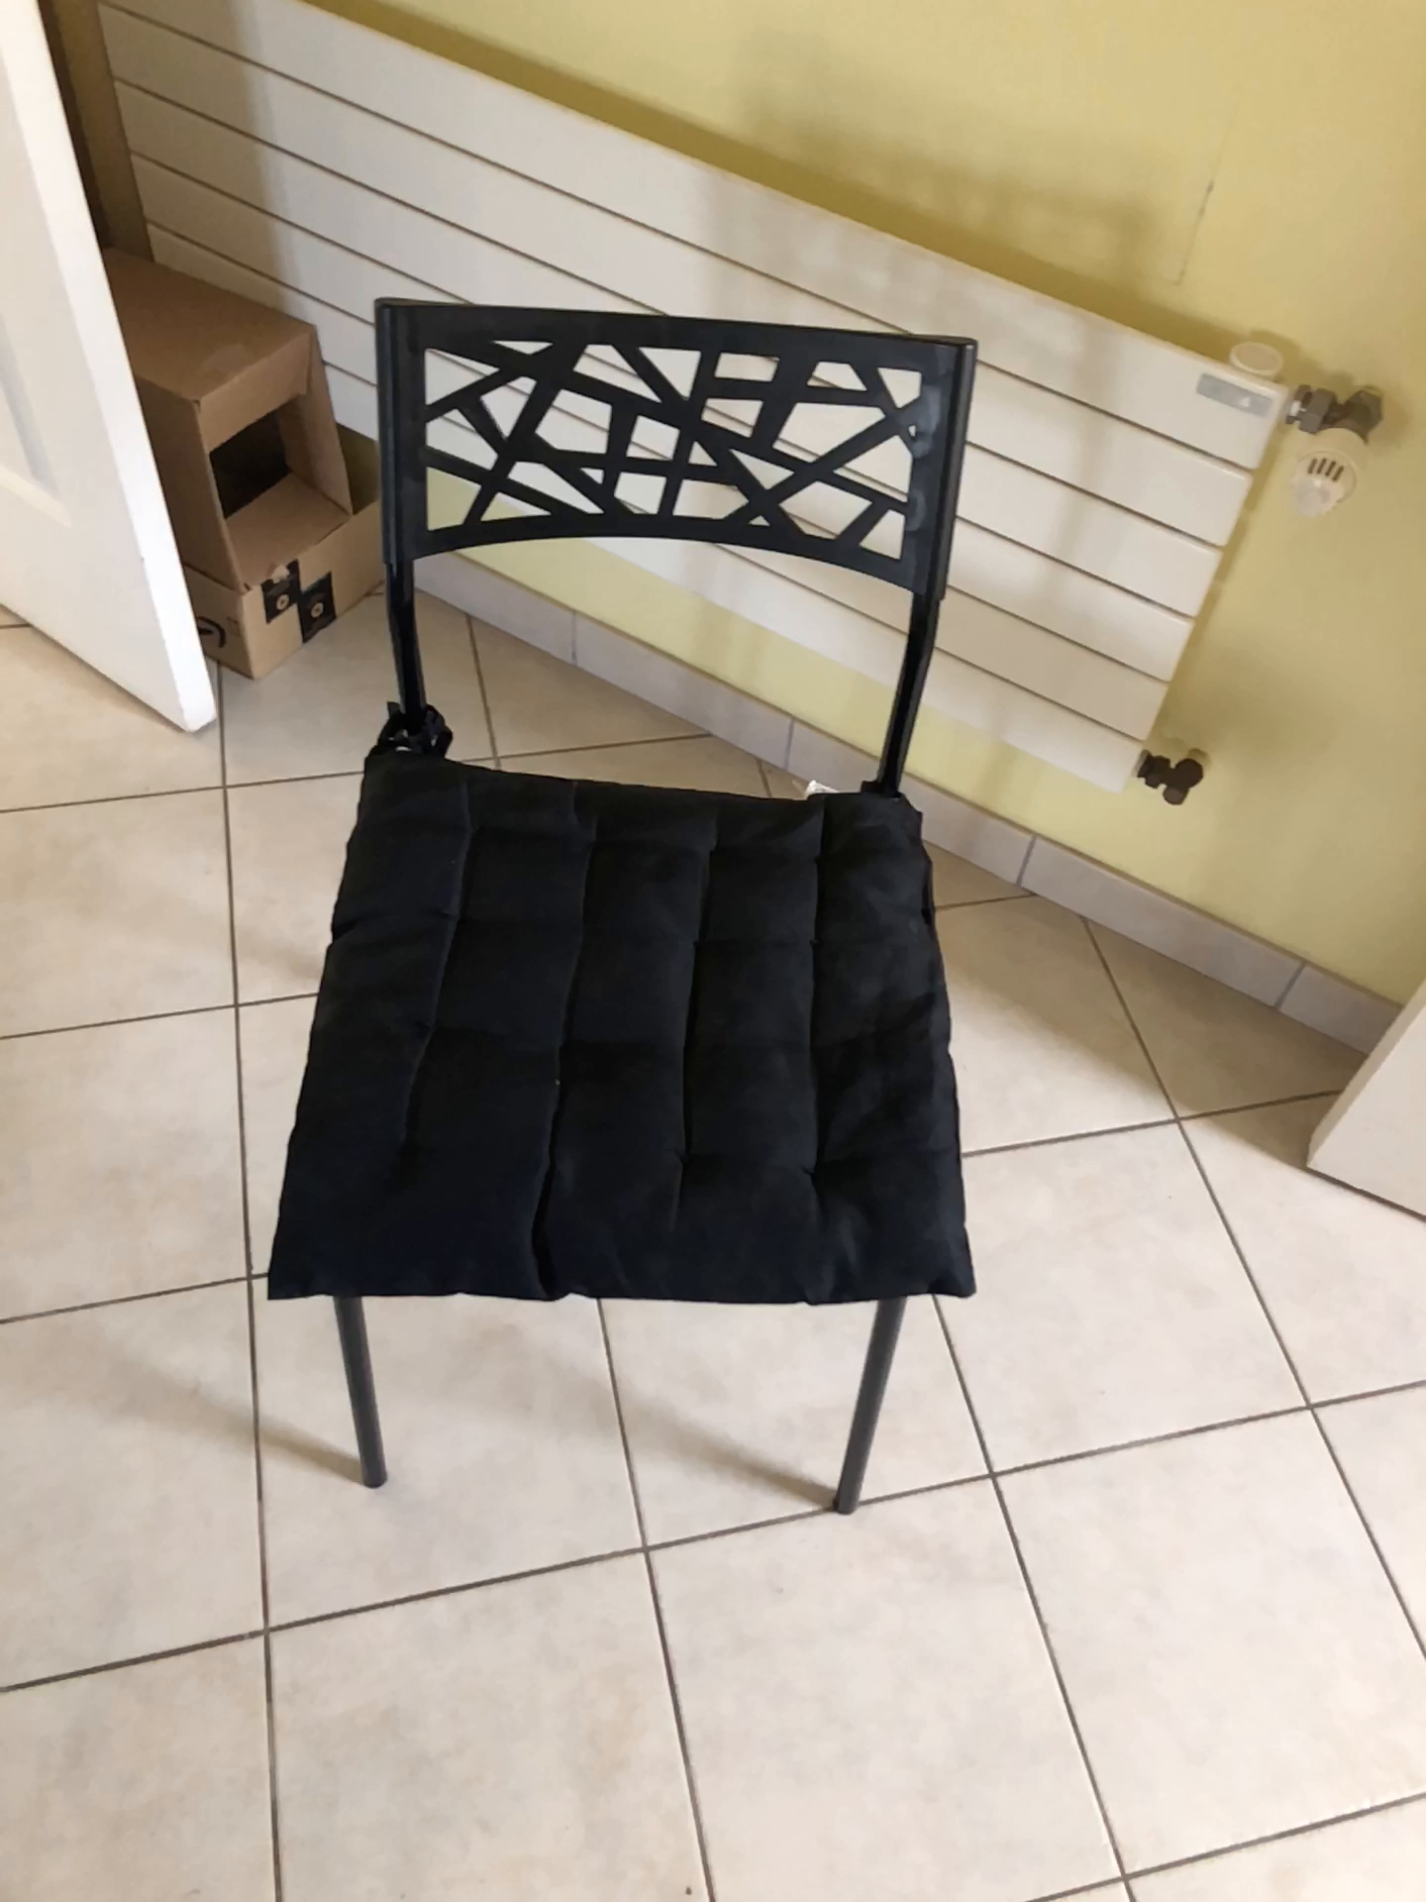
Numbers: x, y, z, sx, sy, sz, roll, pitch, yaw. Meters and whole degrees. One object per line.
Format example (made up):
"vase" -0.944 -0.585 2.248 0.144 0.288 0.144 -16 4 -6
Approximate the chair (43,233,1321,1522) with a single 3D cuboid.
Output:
"chair" -0.029 0.011 1.083 0.520 0.736 0.523 3 53 -3
